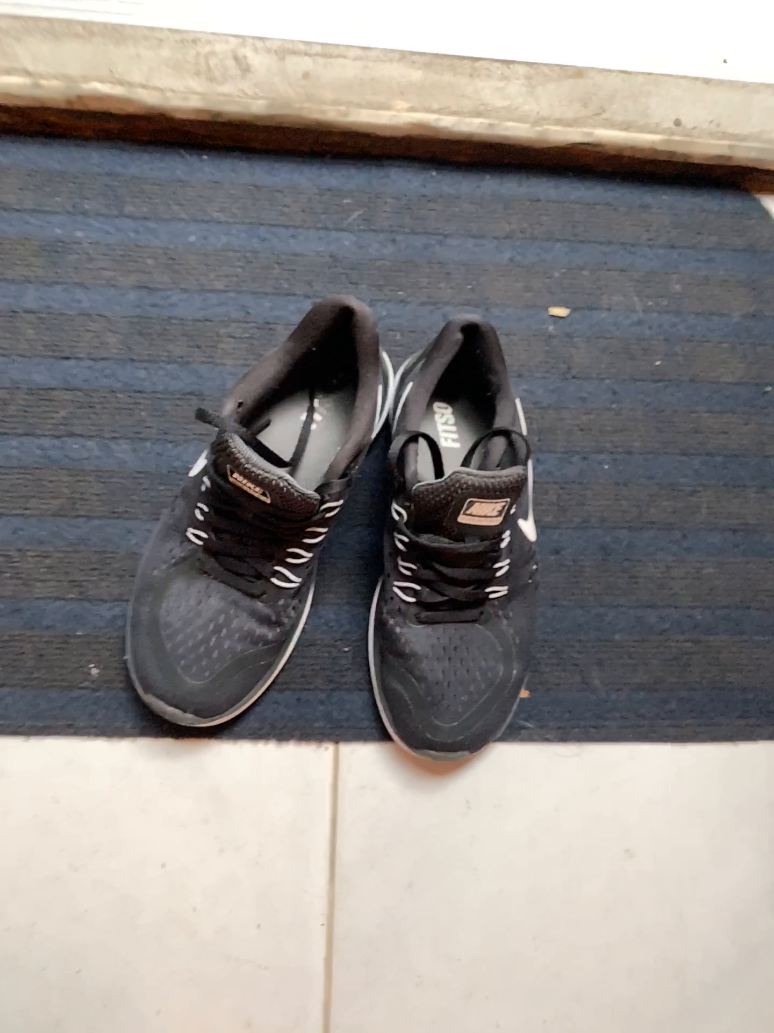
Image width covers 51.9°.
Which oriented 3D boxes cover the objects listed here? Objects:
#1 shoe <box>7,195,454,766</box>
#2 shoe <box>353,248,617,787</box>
[{"bbox_3d":[-0.068,-0.014,0.418,0.104,0.119,0.248,23,75,0],"label":"shoe"},{"bbox_3d":[0.047,0.006,0.425,0.106,0.119,0.248,4,76,-5],"label":"shoe"}]
